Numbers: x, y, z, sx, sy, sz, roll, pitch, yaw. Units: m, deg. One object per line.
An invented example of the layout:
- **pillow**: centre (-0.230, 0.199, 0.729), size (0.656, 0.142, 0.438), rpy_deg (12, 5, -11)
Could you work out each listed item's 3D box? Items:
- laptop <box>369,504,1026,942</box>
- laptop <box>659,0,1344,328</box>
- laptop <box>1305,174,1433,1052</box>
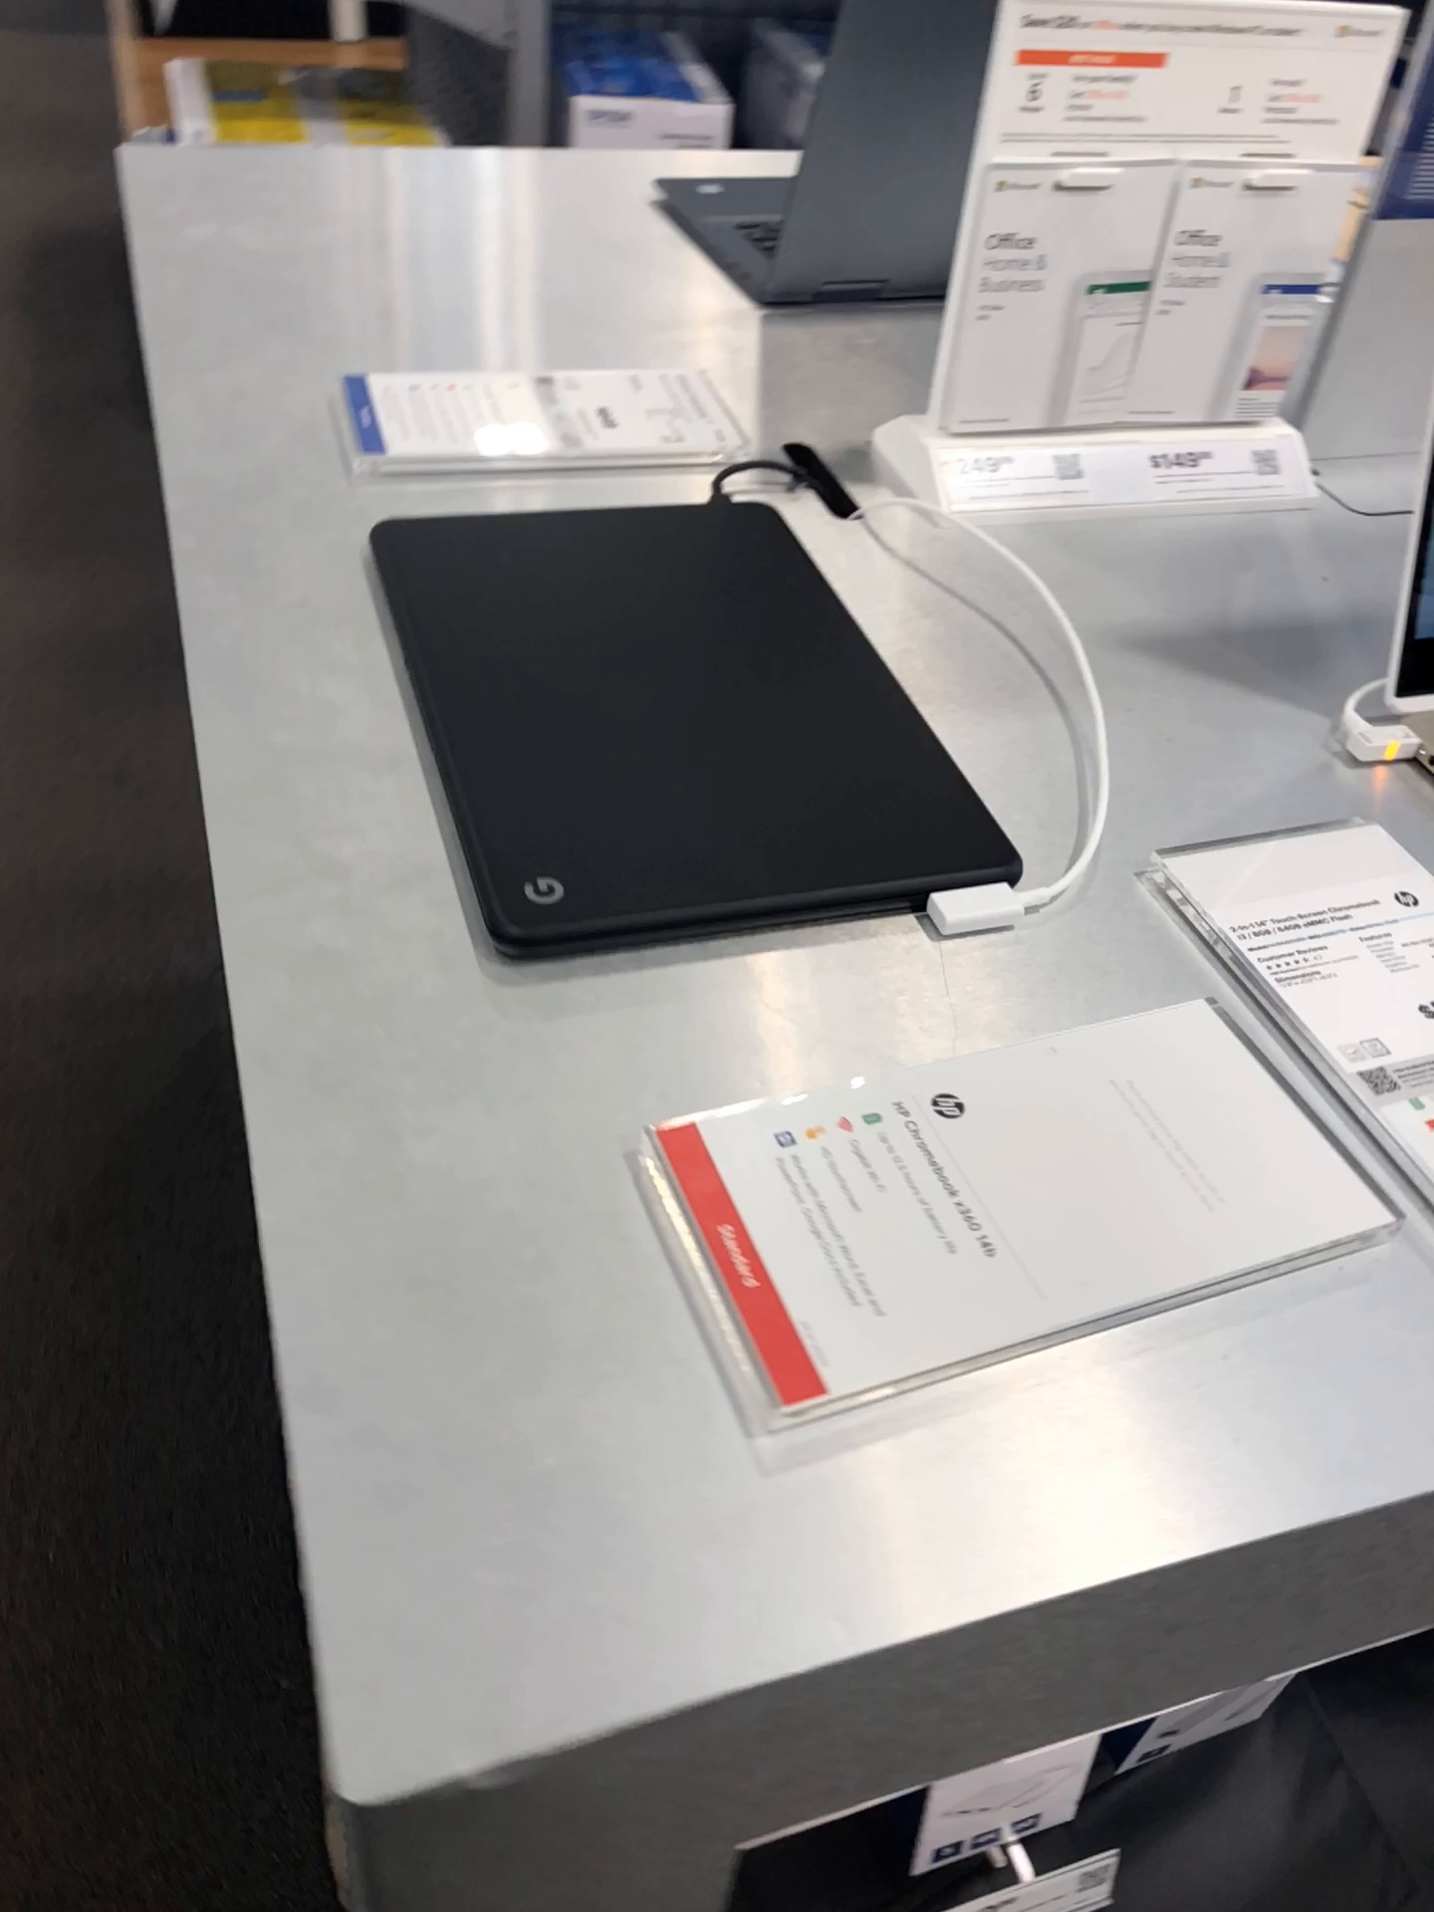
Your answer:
- **laptop**: centre (-0.024, -0.114, 0.650), size (0.194, 0.001, 0.298), rpy_deg (-7, 44, -16)
- **laptop**: centre (0.160, -0.574, 1.041), size (0.298, 0.196, 0.294), rpy_deg (-10, 43, -17)
- **laptop**: centre (0.468, -0.152, 0.606), size (0.302, 0.206, 0.276), rpy_deg (-9, 42, -16)
